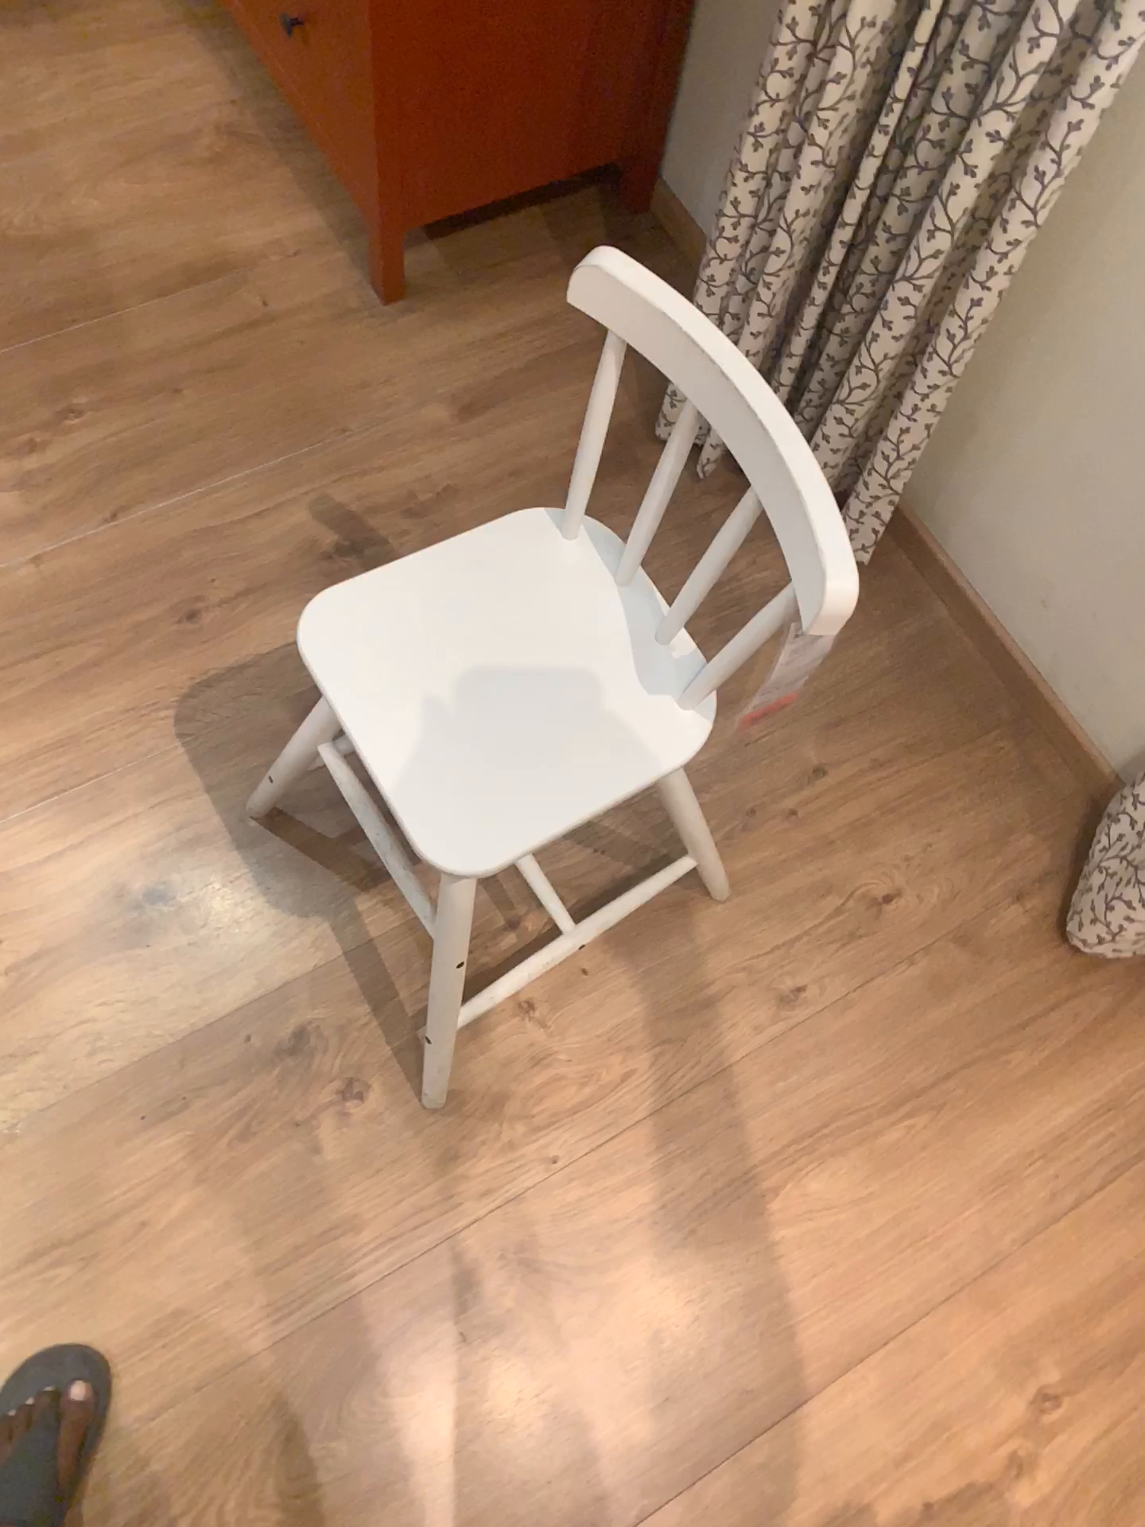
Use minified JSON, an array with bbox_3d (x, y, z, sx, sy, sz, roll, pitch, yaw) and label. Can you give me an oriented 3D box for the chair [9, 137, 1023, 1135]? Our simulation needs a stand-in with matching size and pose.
[{"bbox_3d":[-0.068,-0.035,0.990,0.430,0.649,0.450,-29,74,-17],"label":"chair"}]
